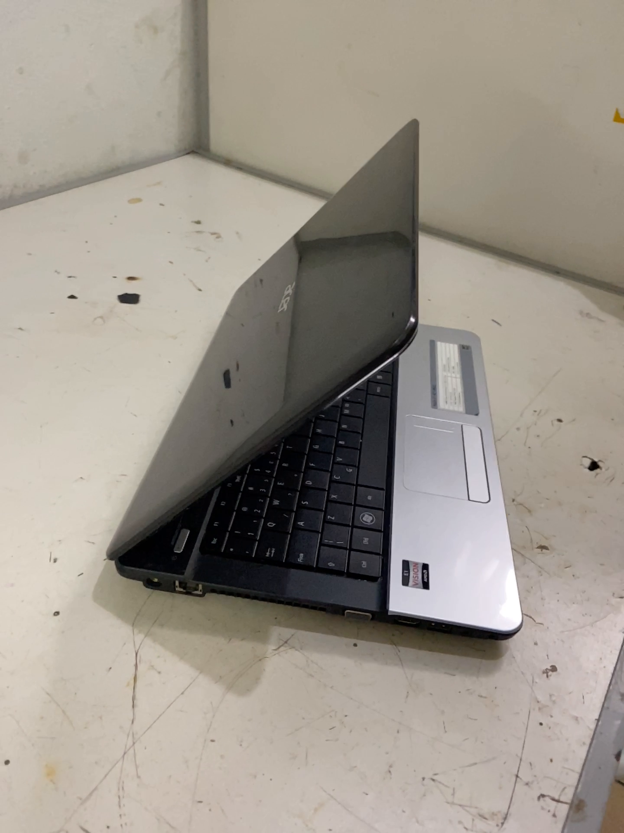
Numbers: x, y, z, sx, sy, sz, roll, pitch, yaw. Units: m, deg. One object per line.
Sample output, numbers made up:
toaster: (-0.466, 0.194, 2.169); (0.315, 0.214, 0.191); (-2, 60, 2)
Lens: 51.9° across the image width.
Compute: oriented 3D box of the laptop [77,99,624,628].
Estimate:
laptop: (0.032, -0.070, 0.451); (0.238, 0.184, 0.336); (9, 38, 2)
